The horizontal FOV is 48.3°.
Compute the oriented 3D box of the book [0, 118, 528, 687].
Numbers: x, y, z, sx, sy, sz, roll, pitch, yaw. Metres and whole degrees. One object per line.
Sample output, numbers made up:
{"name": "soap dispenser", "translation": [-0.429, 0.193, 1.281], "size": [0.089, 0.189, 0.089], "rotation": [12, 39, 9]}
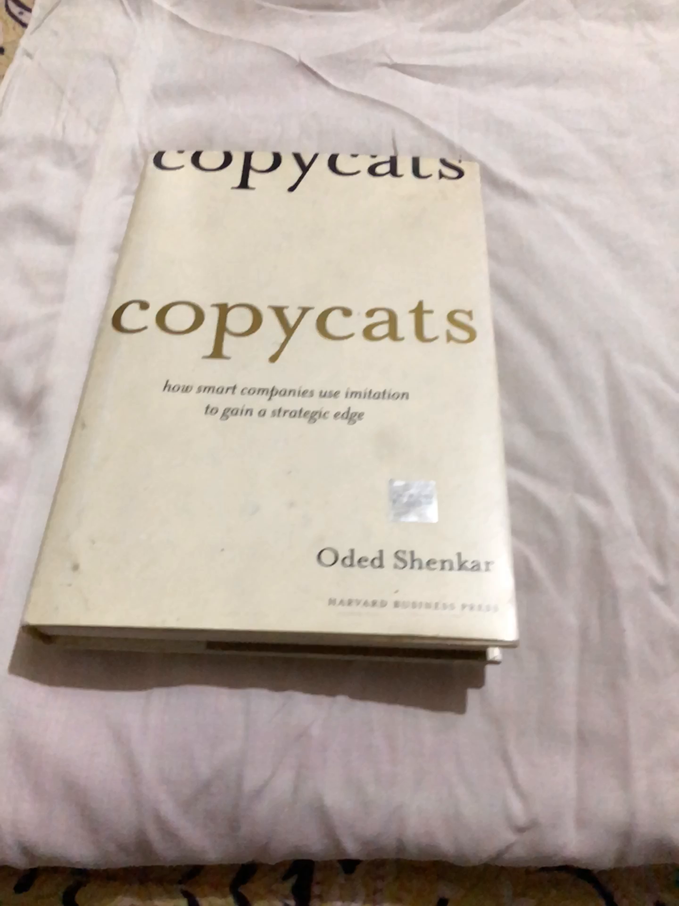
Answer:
{"name": "book", "translation": [-0.018, -0.037, 0.287], "size": [0.150, 0.040, 0.230], "rotation": [2, 58, 2]}
